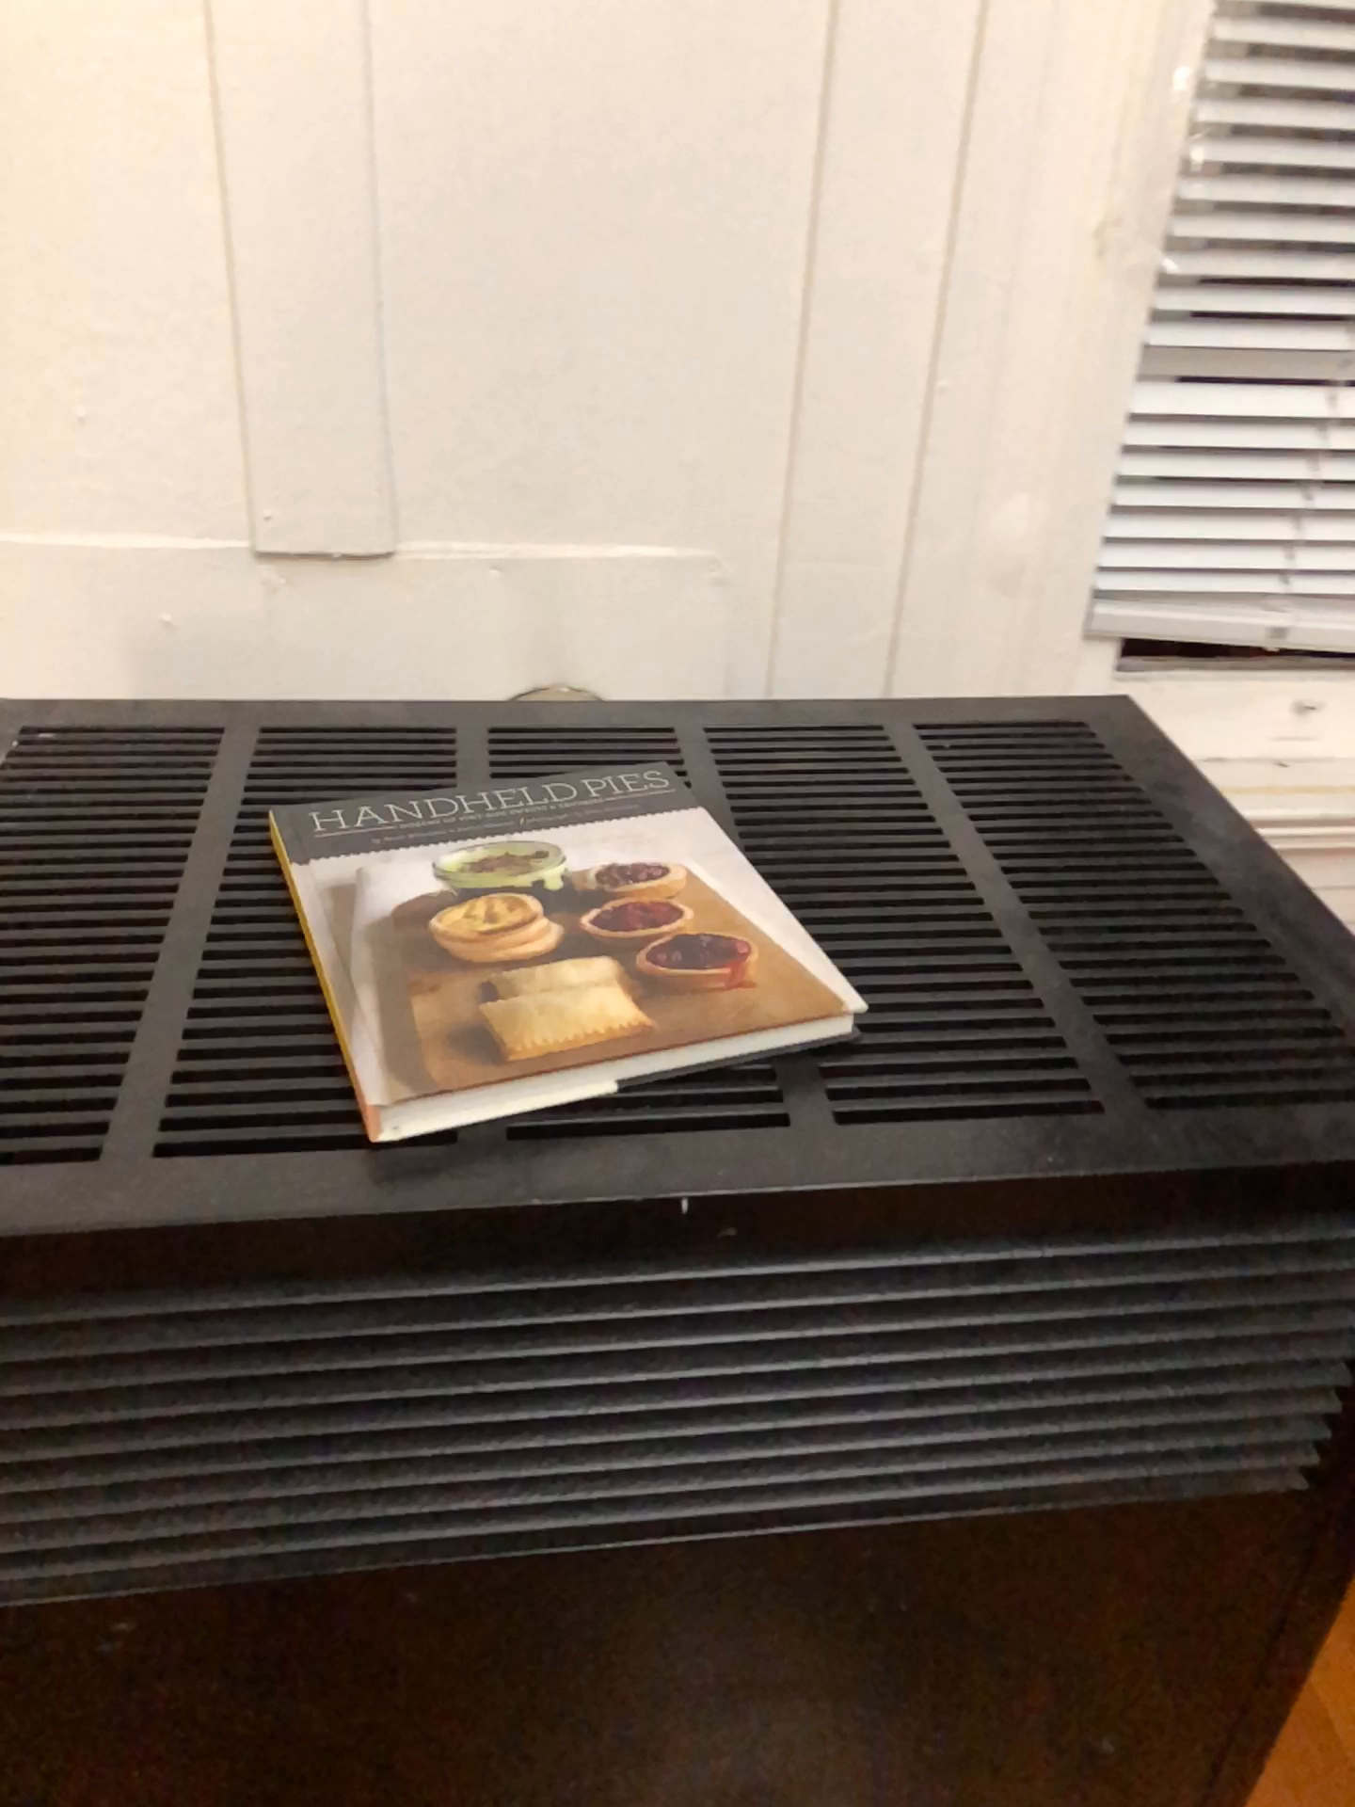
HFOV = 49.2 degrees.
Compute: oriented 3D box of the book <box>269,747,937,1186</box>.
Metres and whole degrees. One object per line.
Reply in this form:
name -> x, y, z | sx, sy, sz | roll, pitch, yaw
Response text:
book -> -0.043, 0.008, 0.593 | 0.200, 0.020, 0.231 | -10, 34, -19
